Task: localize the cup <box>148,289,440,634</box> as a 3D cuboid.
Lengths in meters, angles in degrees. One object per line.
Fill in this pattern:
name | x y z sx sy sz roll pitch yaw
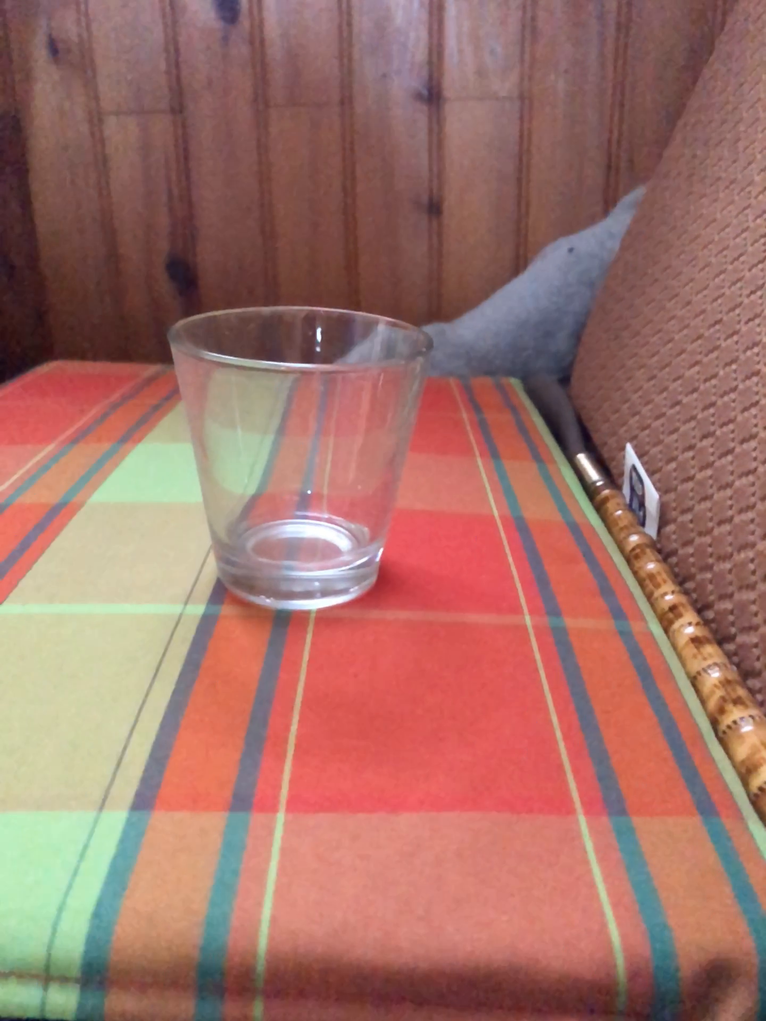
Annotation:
cup | -0.025 -0.021 0.286 0.080 0.090 0.080 3 23 -1
